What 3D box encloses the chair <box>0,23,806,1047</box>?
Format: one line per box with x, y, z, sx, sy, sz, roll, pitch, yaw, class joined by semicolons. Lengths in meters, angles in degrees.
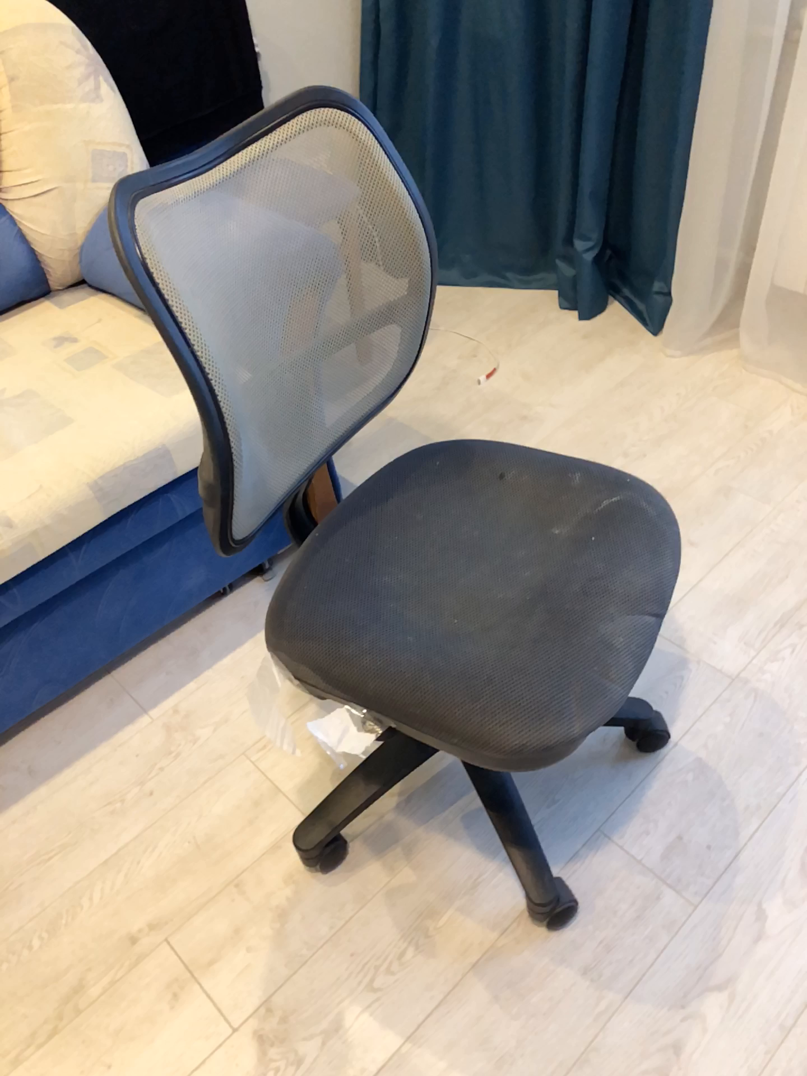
0.073;-0.037;0.948;0.511;0.735;0.664;21;49;26;chair
